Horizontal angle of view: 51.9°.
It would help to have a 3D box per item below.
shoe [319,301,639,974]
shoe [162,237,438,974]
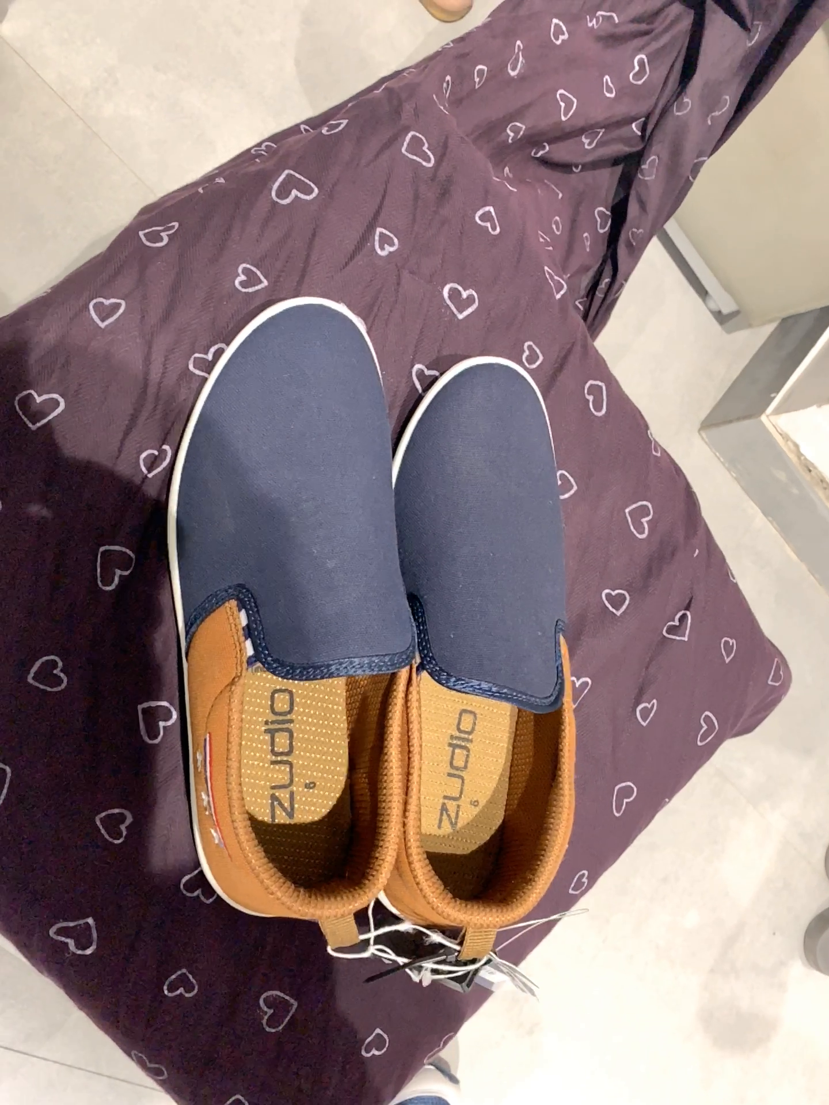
[{"bbox_3d":[0.029,0.038,0.387,0.100,0.060,0.270,8,87,-22],"label":"shoe"},{"bbox_3d":[-0.049,0.020,0.359,0.100,0.060,0.270,1,90,-22],"label":"shoe"}]
